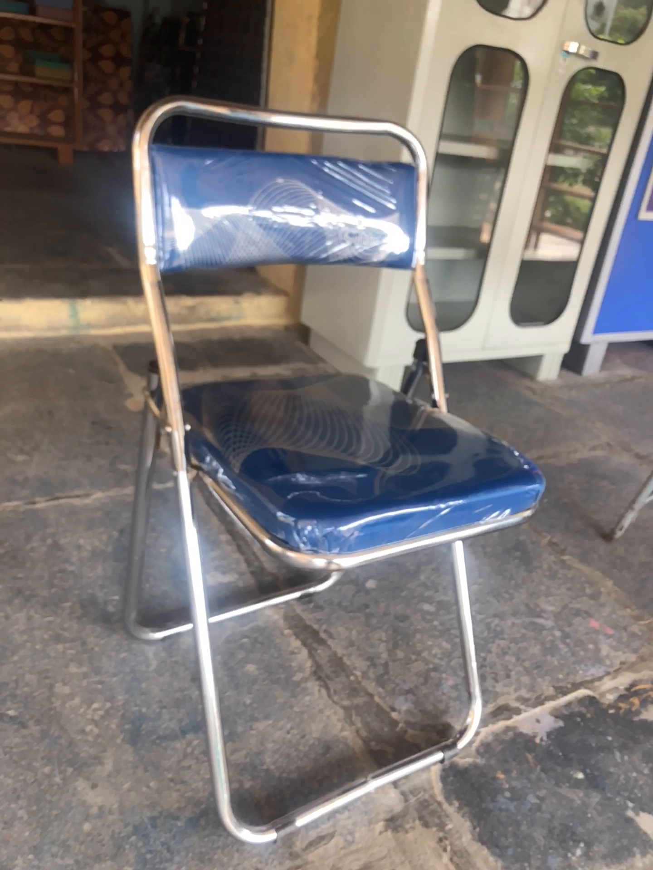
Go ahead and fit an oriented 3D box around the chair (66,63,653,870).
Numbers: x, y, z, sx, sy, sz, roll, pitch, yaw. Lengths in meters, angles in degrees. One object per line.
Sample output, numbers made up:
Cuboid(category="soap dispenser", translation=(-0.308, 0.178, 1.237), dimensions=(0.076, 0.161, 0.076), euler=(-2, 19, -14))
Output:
Cuboid(category="chair", translation=(-0.001, 0.007, 0.944), dimensions=(0.502, 0.806, 0.511), euler=(-10, 30, -32))
